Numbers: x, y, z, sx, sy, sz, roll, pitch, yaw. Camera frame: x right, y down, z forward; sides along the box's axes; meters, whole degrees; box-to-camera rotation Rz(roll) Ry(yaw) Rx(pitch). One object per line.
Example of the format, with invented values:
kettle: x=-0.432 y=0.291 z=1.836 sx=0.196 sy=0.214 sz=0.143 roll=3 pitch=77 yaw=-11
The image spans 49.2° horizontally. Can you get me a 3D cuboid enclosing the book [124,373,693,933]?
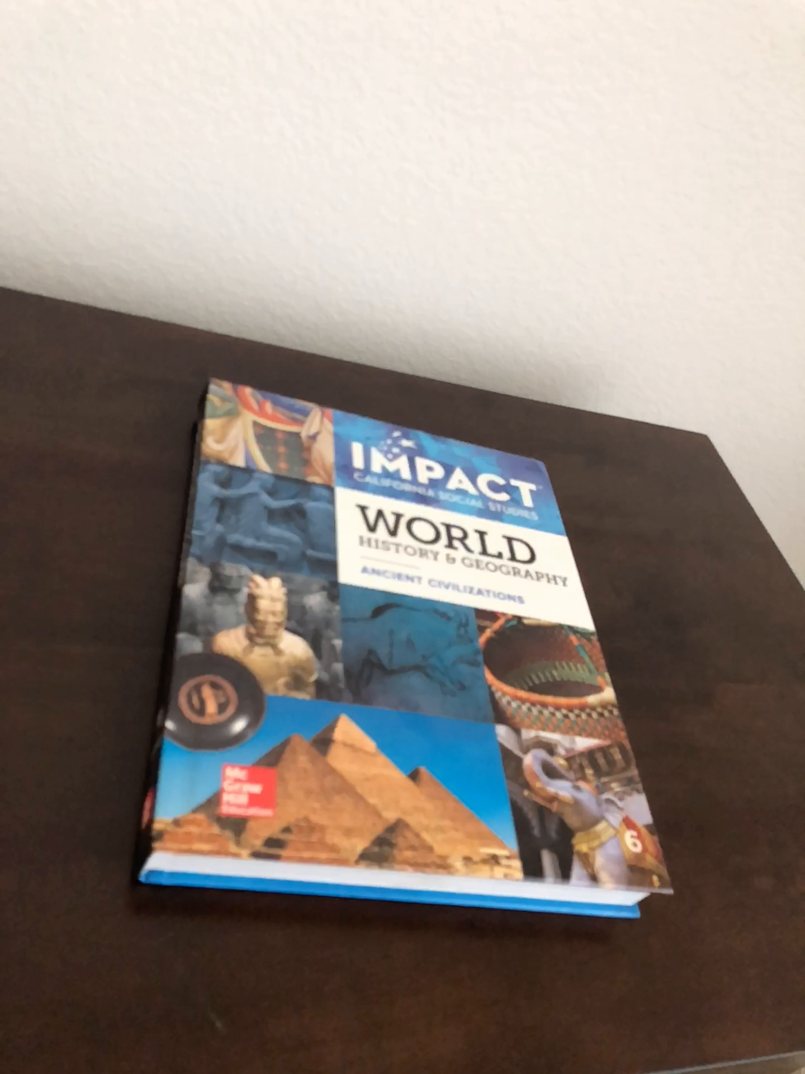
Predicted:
book: x=0.000 y=0.041 z=0.443 sx=0.228 sy=0.030 sz=0.286 roll=12 pitch=42 yaw=-18
